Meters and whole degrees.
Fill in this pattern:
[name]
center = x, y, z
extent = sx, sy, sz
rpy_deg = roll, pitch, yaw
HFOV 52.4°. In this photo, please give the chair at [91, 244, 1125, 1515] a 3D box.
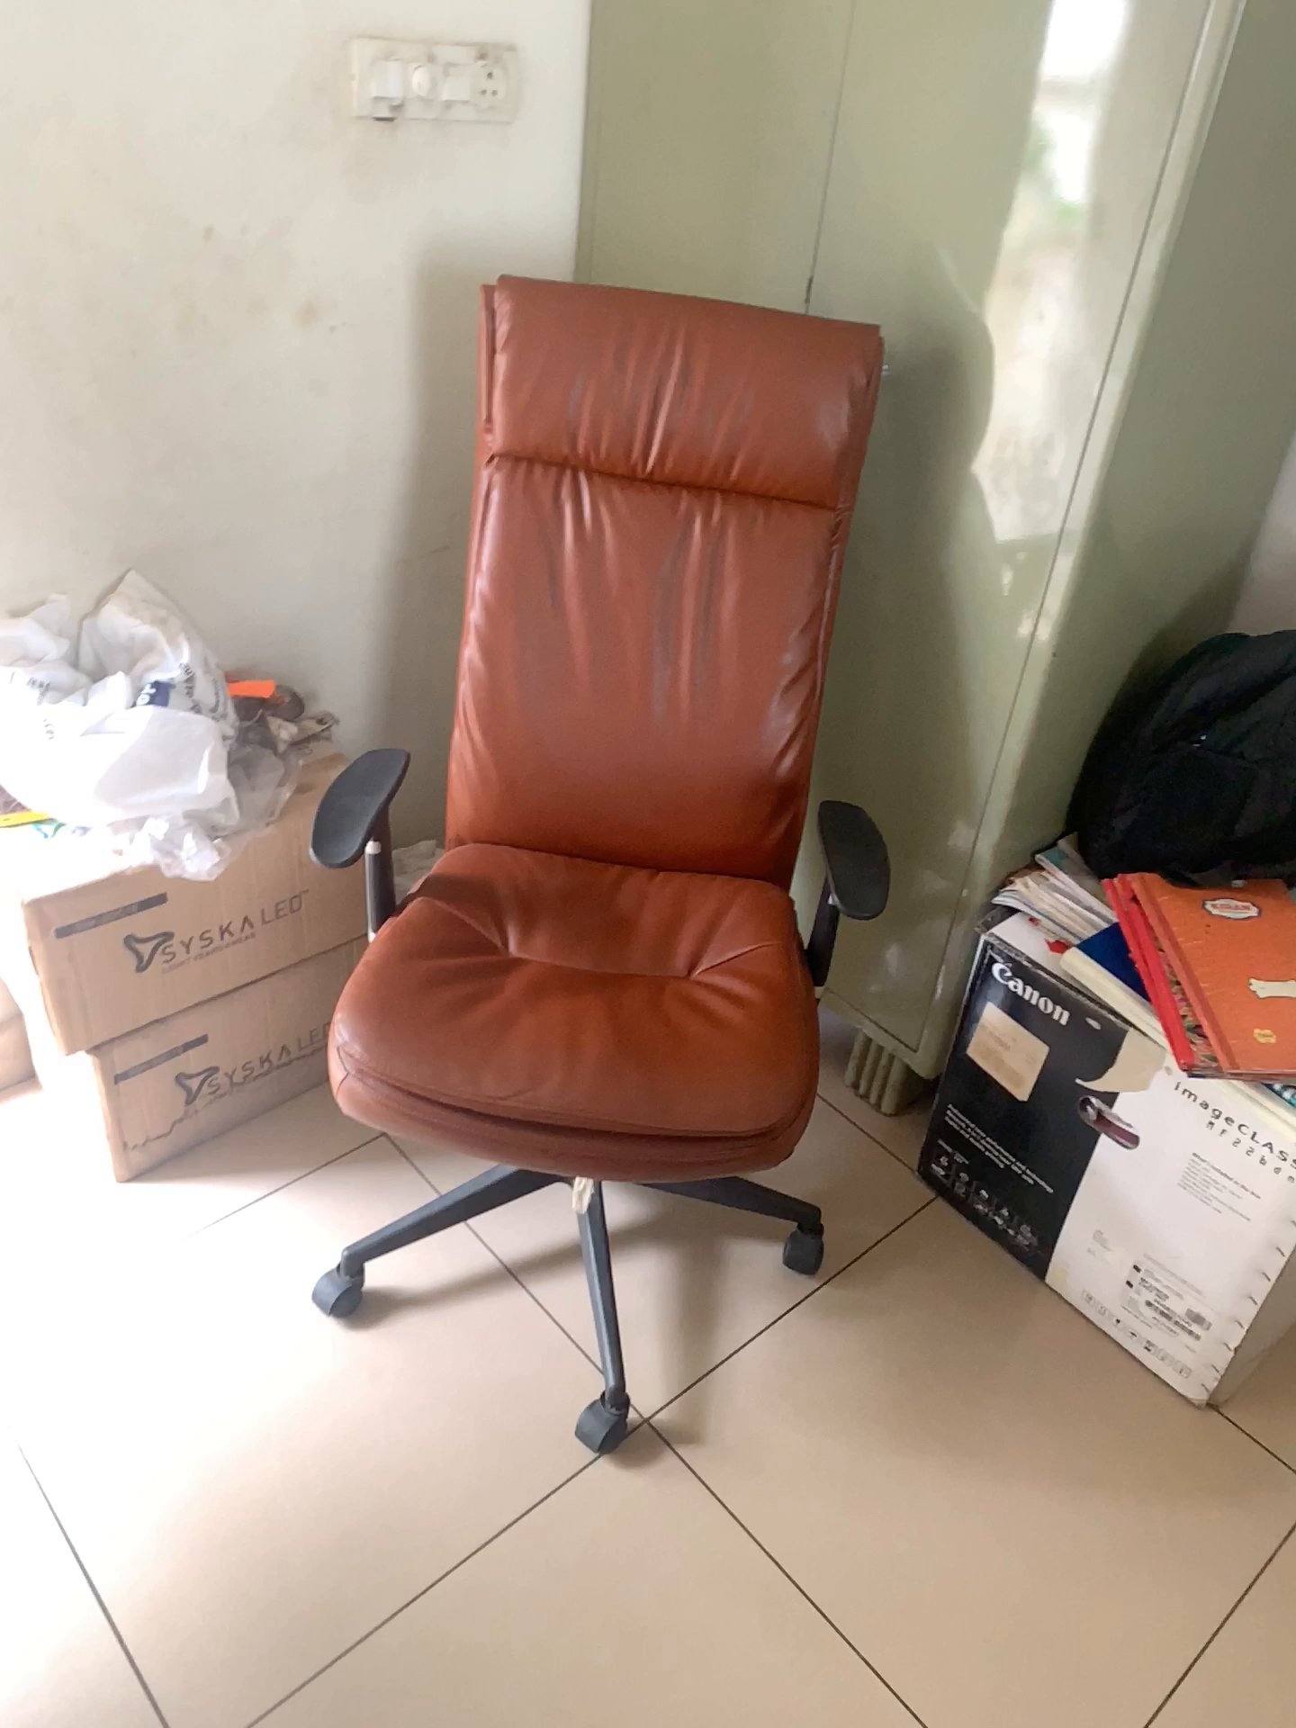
[chair]
center = -0.032, -0.024, 1.560
extent = 0.690, 1.085, 0.934
rpy_deg = 8, 35, 2
